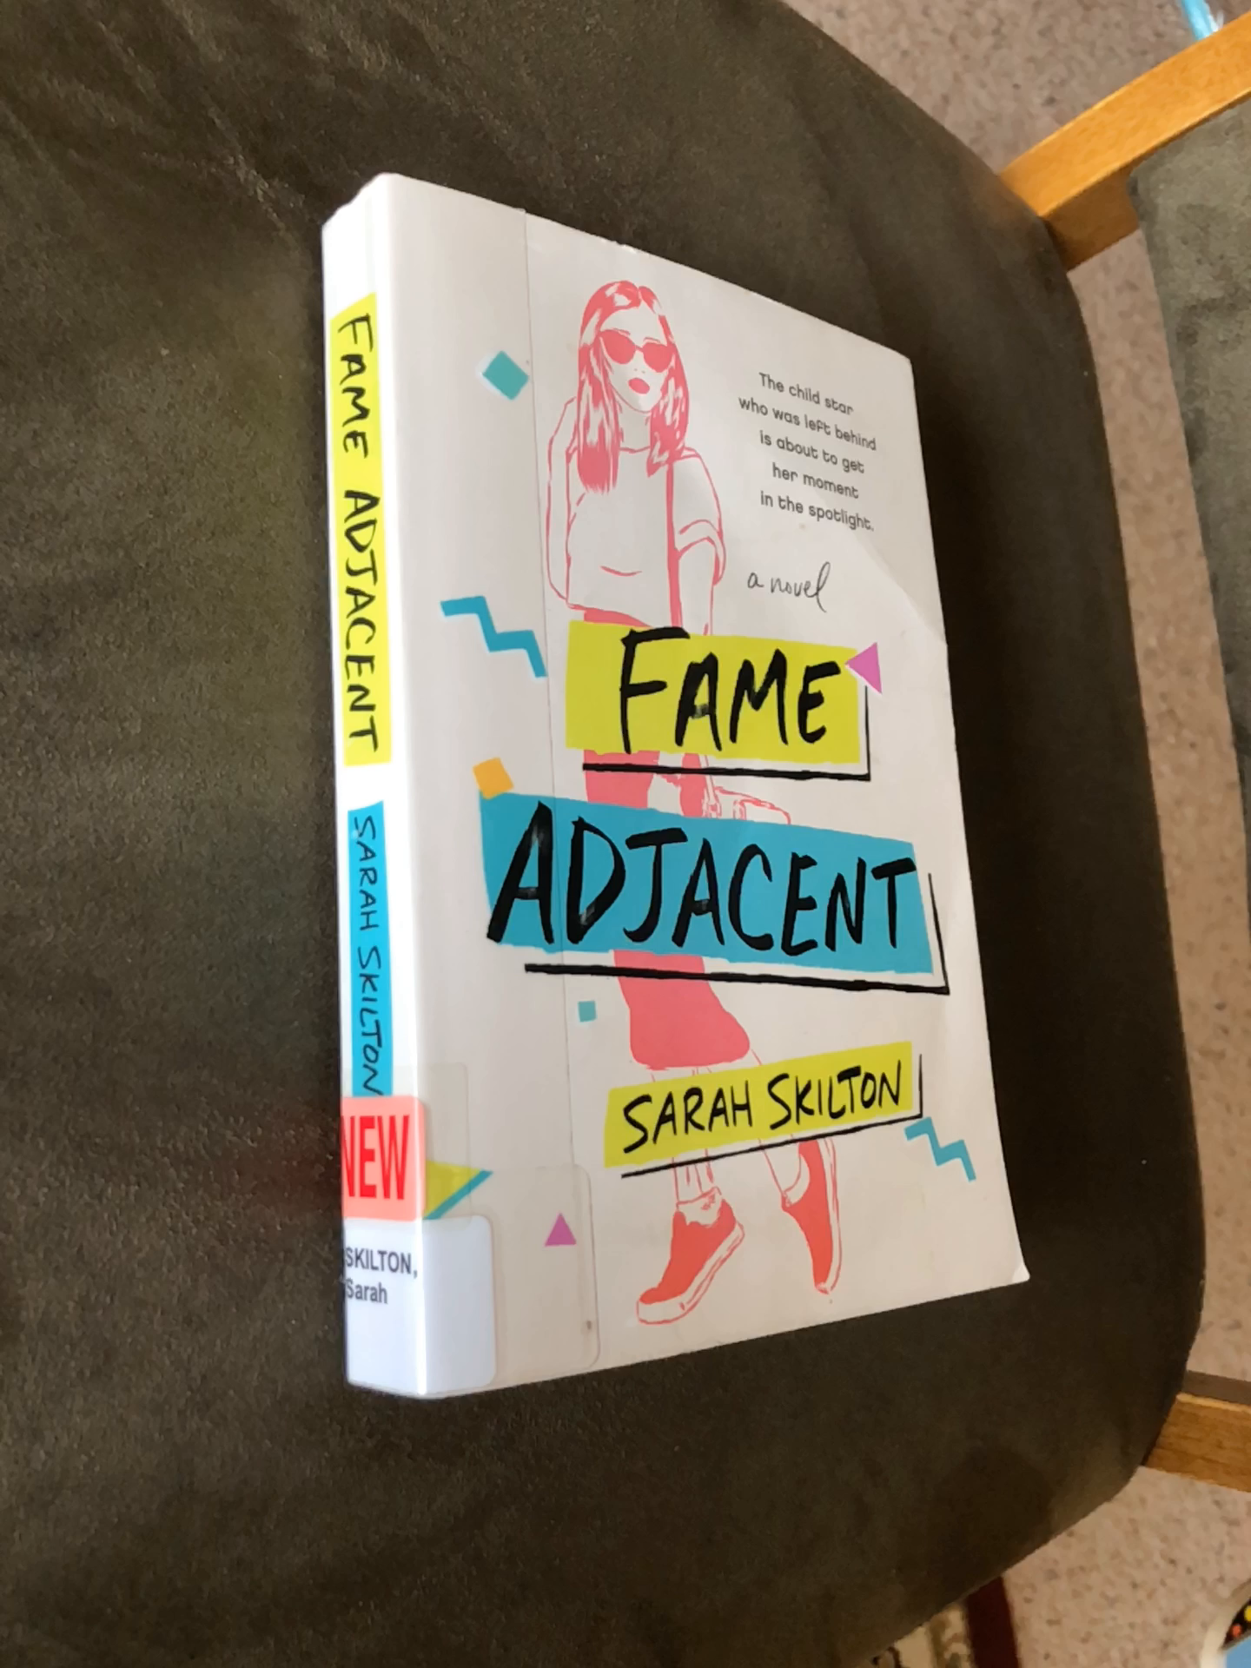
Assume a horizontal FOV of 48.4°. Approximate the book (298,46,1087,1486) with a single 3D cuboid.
[{"bbox_3d":[0.014,-0.012,0.264,0.141,0.040,0.220,4,78,-35],"label":"book"}]
